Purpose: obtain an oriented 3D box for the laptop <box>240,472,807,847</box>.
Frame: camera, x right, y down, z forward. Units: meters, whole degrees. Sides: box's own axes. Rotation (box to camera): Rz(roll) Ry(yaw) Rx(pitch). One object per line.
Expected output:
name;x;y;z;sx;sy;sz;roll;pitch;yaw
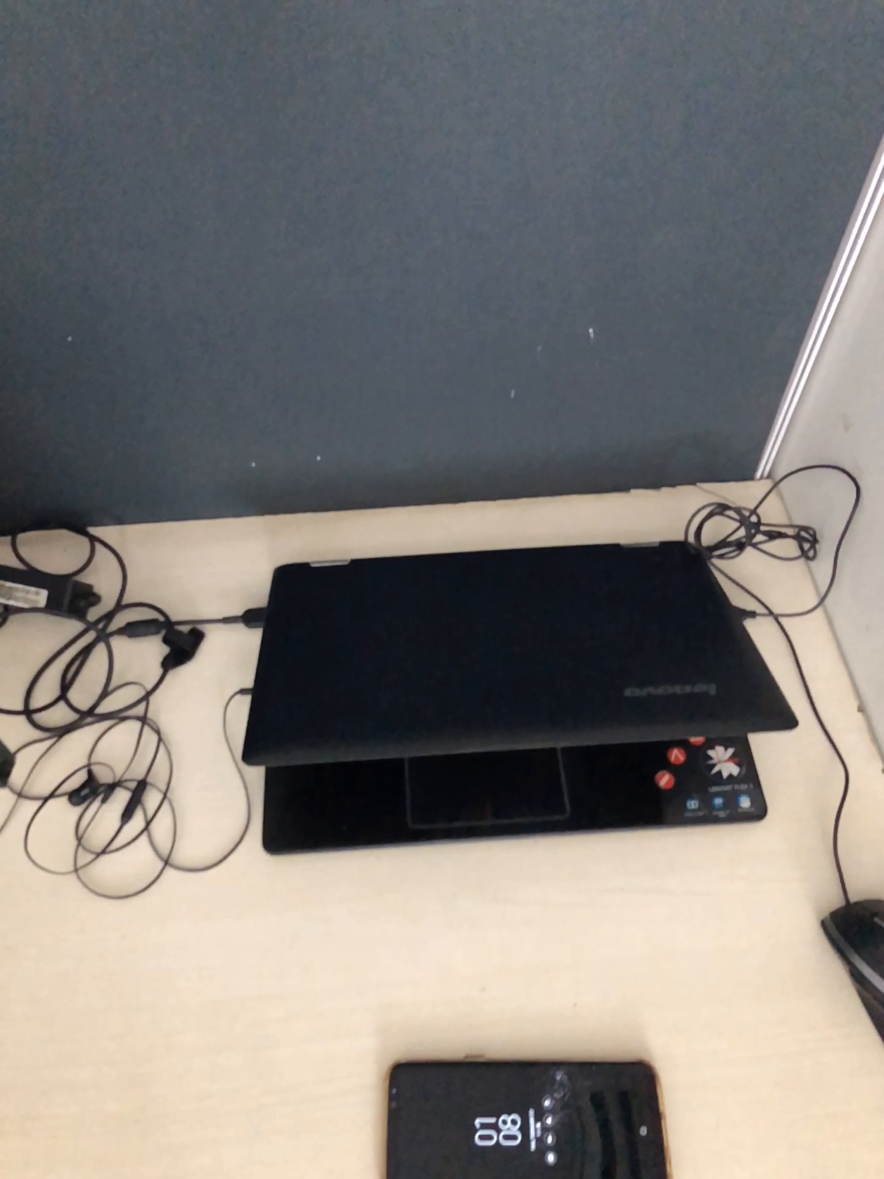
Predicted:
laptop;0.041;0.039;0.657;0.326;0.083;0.220;-3;53;-2
